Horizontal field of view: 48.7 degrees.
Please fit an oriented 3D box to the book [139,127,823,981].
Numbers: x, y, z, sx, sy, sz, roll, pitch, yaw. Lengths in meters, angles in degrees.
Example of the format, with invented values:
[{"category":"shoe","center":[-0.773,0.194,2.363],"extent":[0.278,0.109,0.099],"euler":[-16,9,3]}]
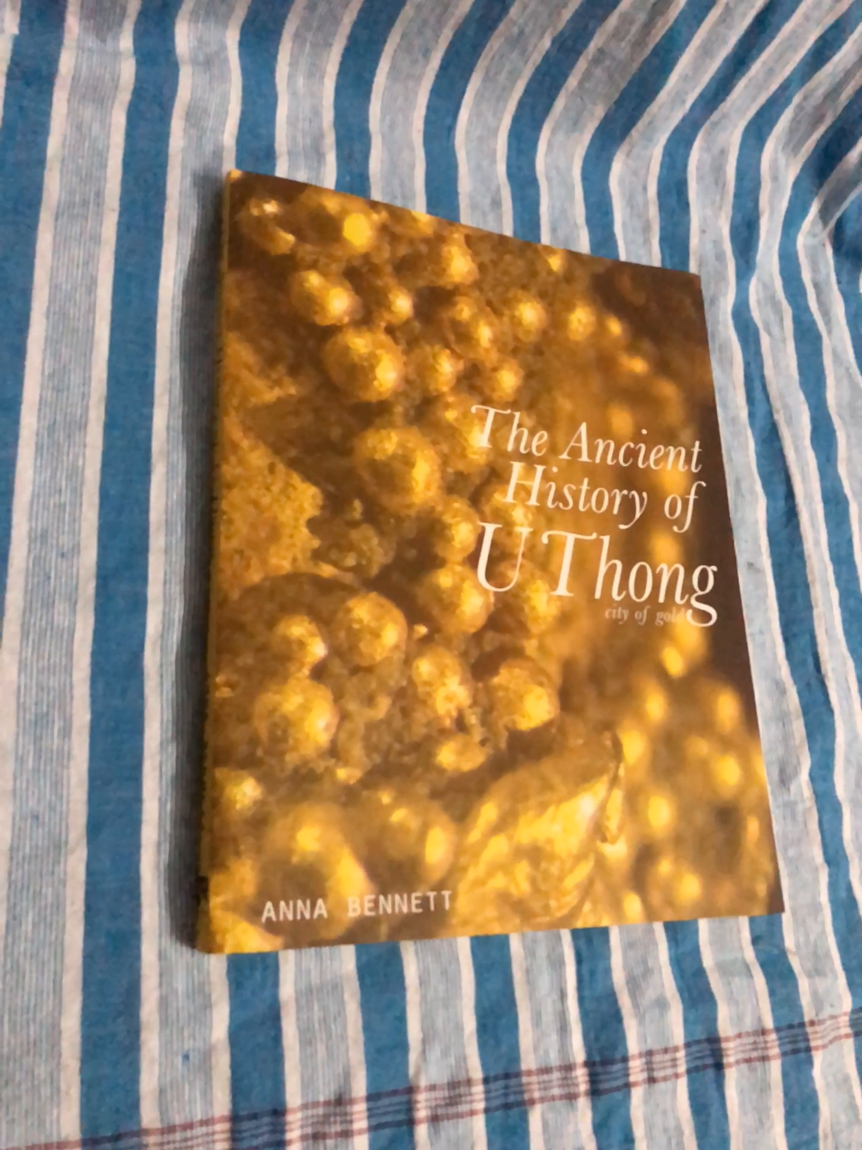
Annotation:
[{"category":"book","center":[0.023,-0.008,0.325],"extent":[0.221,0.030,0.250],"euler":[5,72,-25]}]
